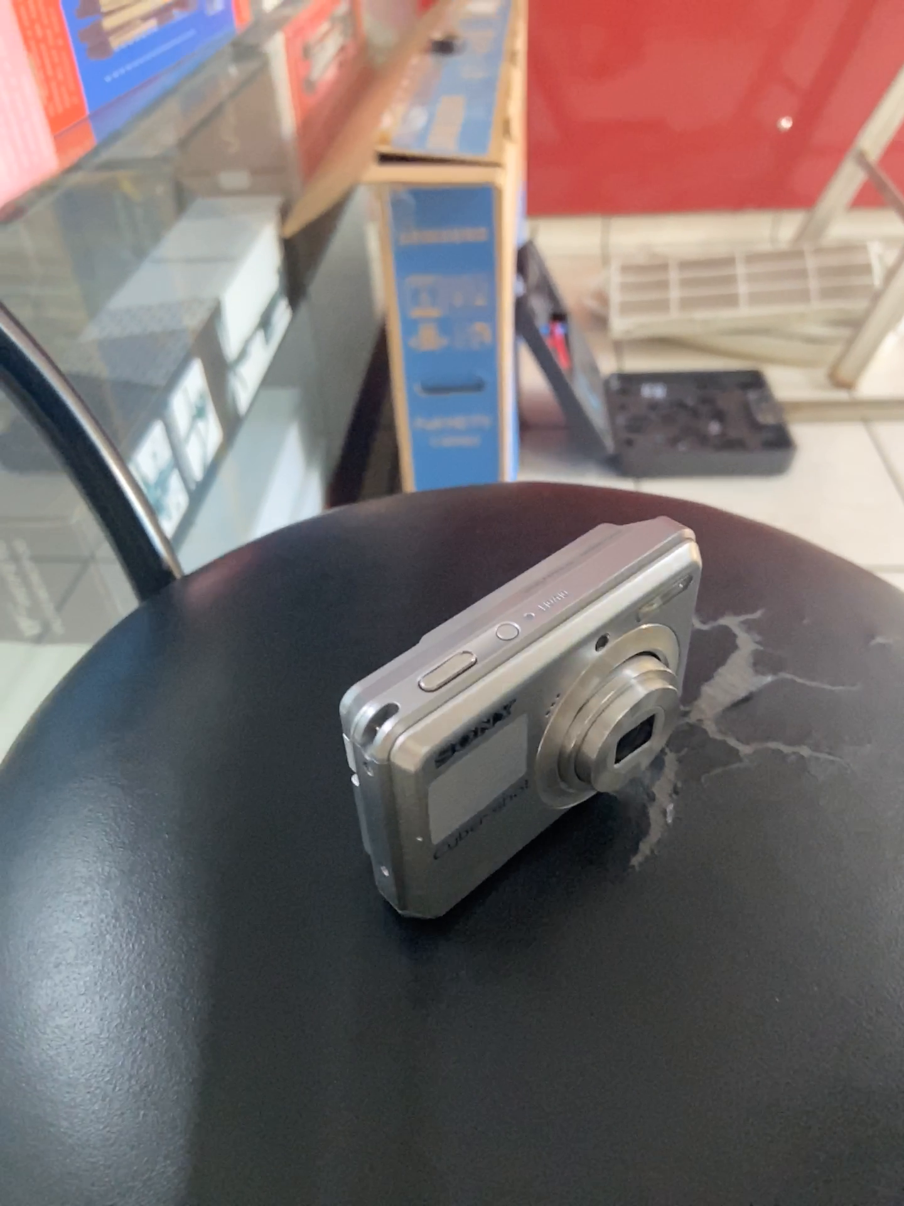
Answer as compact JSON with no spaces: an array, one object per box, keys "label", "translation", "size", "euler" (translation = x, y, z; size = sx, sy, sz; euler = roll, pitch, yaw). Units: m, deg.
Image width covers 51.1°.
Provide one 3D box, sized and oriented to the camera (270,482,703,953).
[{"label":"camera","translation":[0.010,0.021,0.203],"size":[0.083,0.057,0.035],"euler":[-31,47,-29]}]
